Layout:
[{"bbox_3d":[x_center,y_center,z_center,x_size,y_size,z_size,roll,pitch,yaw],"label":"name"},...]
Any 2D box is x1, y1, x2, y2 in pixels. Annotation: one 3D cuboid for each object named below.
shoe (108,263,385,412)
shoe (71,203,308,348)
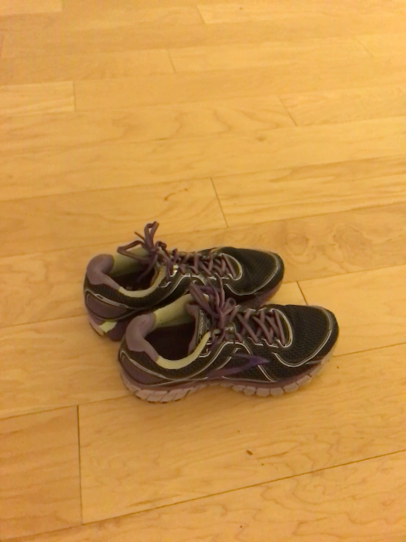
[{"bbox_3d":[0.040,0.073,0.509,0.280,0.079,0.121,-4,51,-6],"label":"shoe"},{"bbox_3d":[-0.021,0.001,0.574,0.270,0.079,0.121,-10,52,-10],"label":"shoe"}]
